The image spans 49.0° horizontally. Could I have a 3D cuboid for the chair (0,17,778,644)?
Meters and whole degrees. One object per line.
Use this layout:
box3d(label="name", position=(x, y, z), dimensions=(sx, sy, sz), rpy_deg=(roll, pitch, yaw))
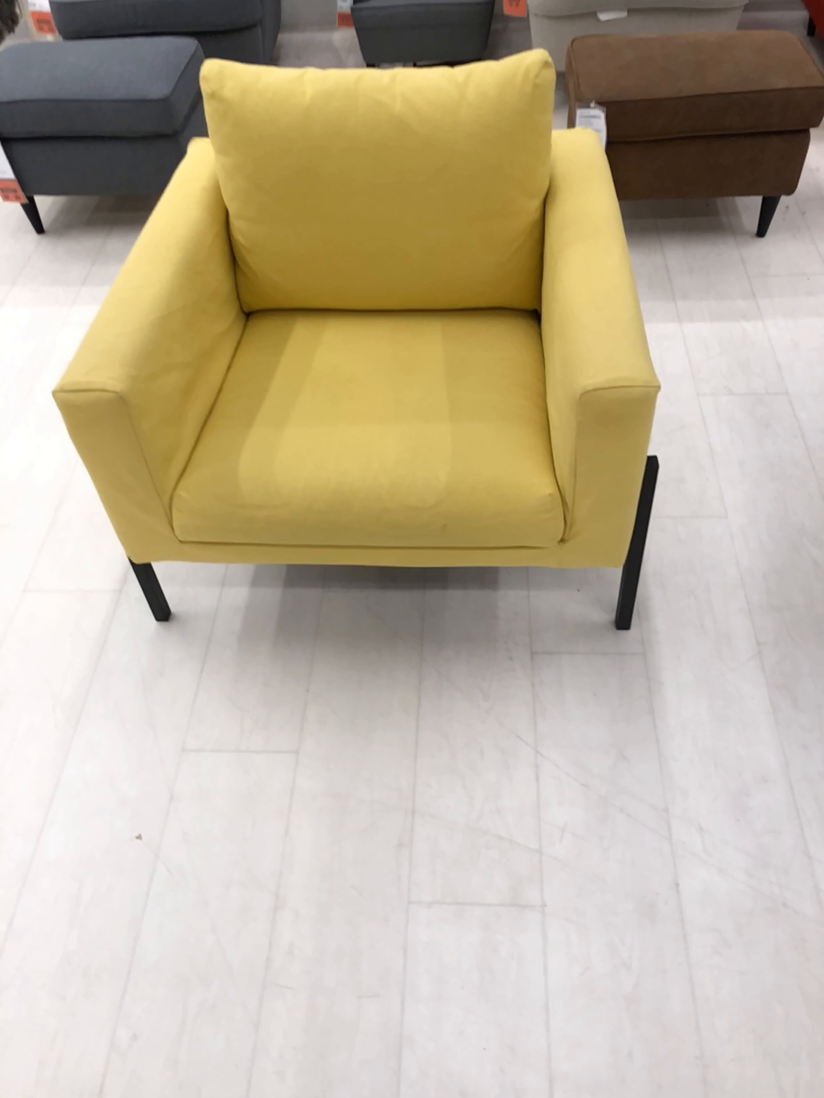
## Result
box3d(label="chair", position=(-0.040, -0.347, 1.553), dimensions=(0.980, 0.758, 0.692), rpy_deg=(0, 49, 5))
